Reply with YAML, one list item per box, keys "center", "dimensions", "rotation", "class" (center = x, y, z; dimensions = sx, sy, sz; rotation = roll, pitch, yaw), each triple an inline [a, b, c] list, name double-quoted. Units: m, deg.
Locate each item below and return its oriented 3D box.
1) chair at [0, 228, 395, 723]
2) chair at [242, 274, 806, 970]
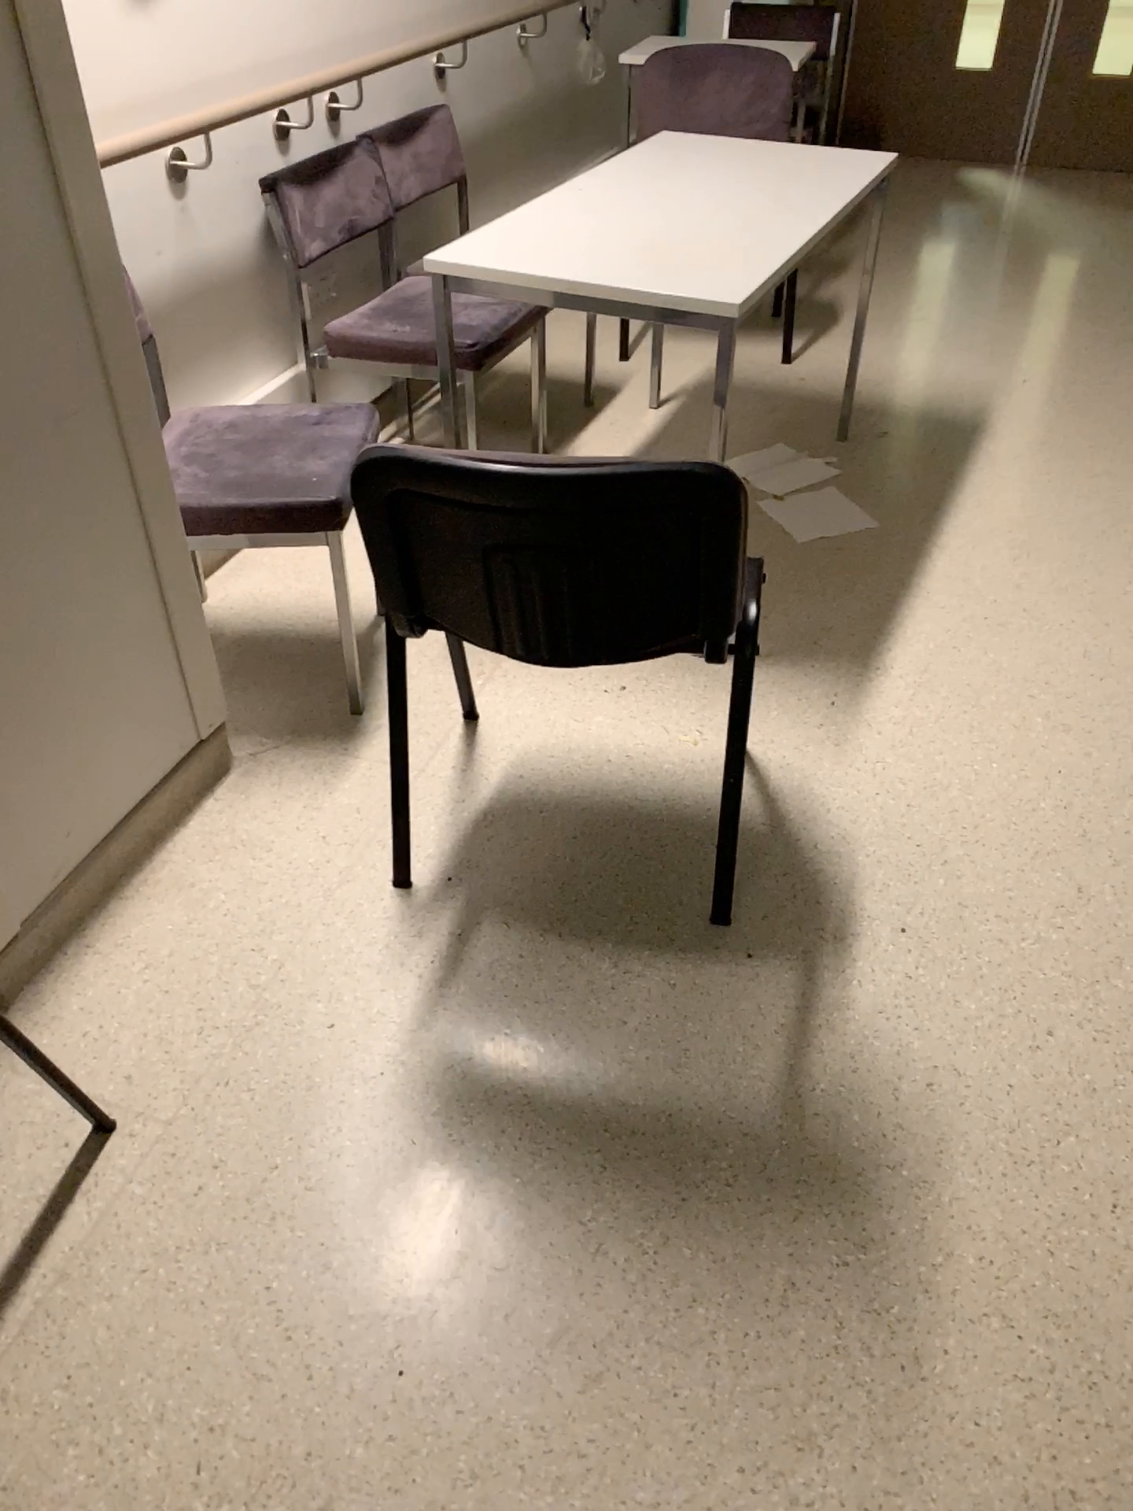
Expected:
- center: [-0.656, -0.501, 2.081]
  dimensions: [0.560, 0.723, 0.505]
  rotation: [0, 38, 0]
  class: "chair"
- center: [-0.005, -0.208, 1.680]
  dimensions: [0.600, 0.752, 0.606]
  rotation: [6, 39, 8]
  class: "chair"
